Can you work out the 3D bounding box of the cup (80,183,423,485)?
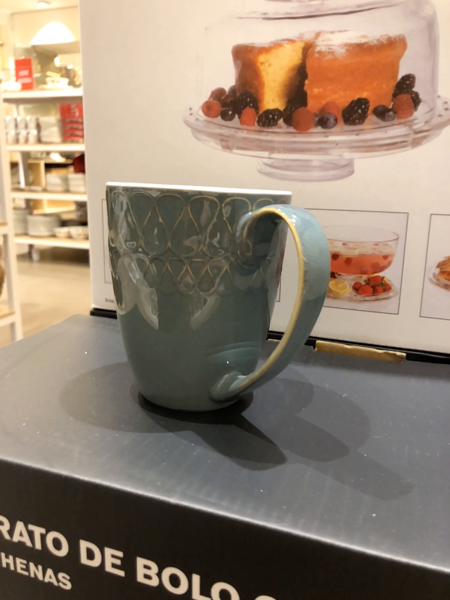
[{"bbox_3d":[0.007,-0.003,0.242,0.130,0.100,0.090,15,20,42],"label":"cup"}]
